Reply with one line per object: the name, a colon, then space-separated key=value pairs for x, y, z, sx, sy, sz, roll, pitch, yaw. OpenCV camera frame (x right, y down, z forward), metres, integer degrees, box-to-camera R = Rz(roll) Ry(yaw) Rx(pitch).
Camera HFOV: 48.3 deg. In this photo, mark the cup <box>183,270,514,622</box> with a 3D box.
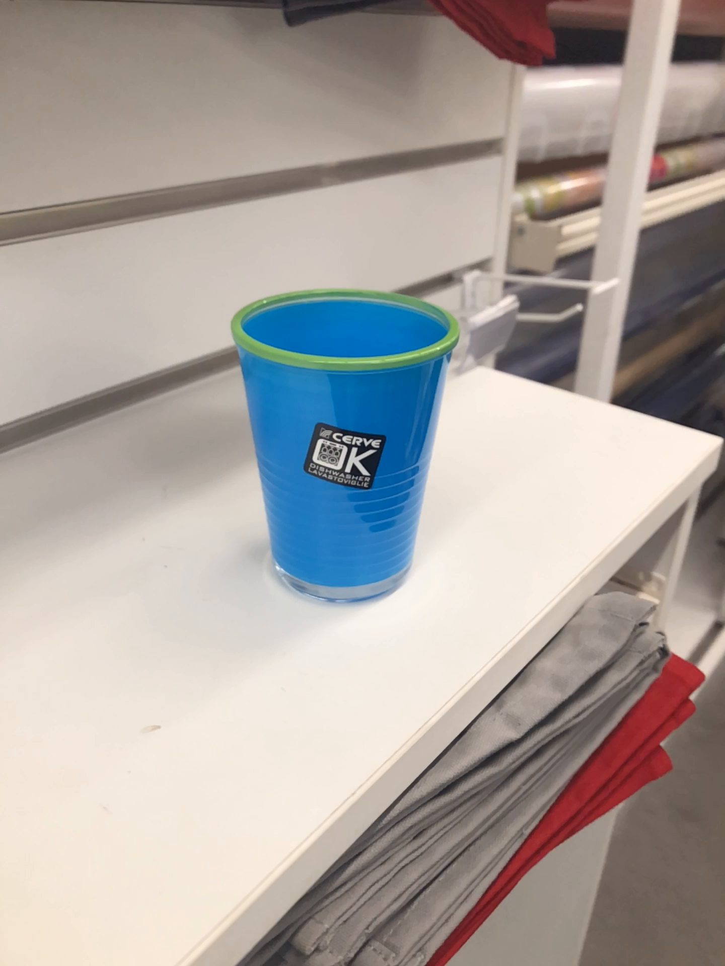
cup: x=-0.006 y=-0.020 z=0.304 sx=0.083 sy=0.090 sz=0.081 roll=2 pitch=29 yaw=-1
